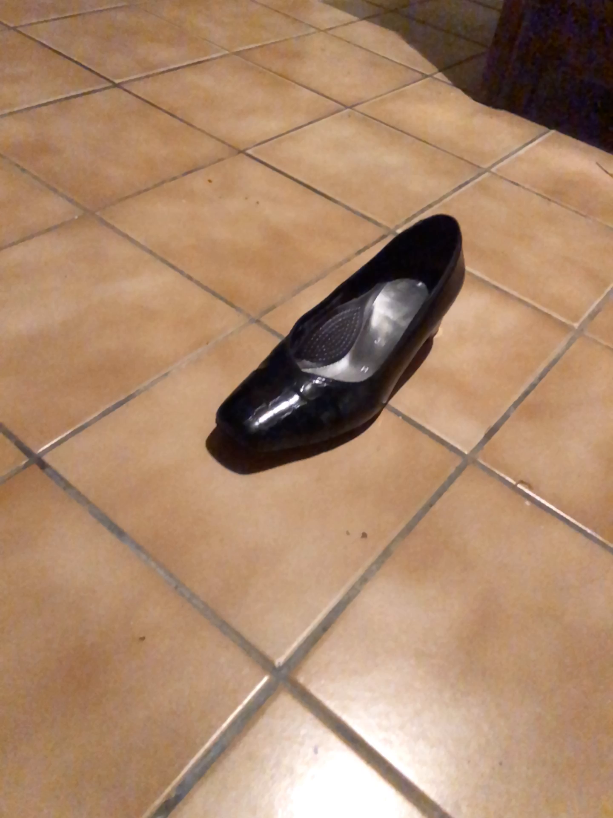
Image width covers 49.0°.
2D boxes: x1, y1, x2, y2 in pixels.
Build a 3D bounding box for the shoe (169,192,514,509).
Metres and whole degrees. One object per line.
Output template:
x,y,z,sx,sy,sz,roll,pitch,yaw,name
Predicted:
0.032,-0.056,0.482,0.100,0.089,0.252,35,50,22,shoe
